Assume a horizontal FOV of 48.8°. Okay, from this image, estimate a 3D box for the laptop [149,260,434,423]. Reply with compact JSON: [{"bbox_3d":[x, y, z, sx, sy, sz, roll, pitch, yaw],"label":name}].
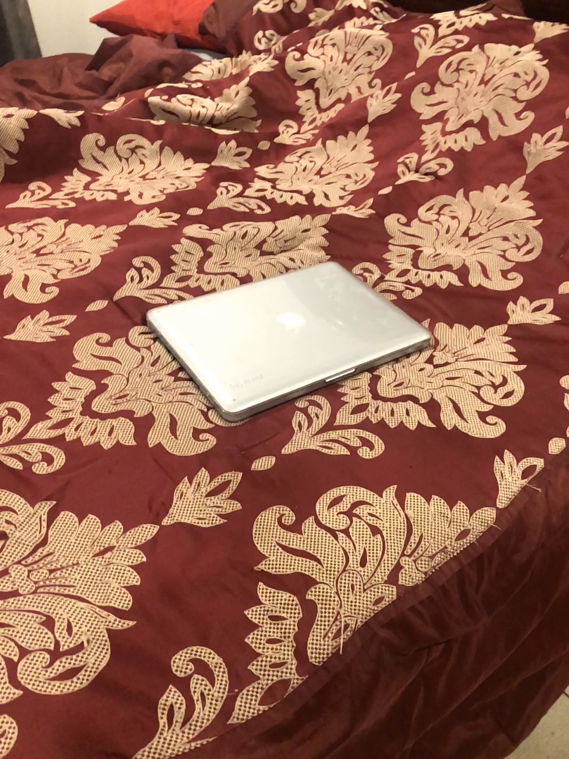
[{"bbox_3d":[0.011,-0.066,0.815,0.304,0.015,0.208,-21,48,-28],"label":"laptop"}]
